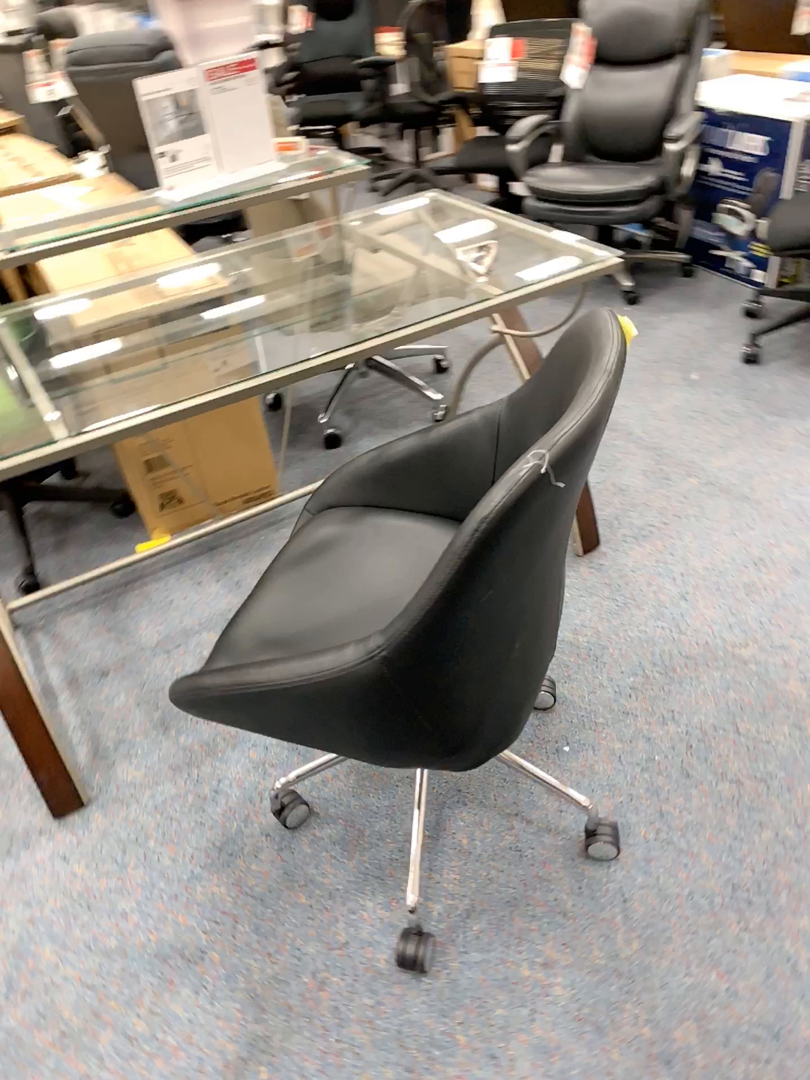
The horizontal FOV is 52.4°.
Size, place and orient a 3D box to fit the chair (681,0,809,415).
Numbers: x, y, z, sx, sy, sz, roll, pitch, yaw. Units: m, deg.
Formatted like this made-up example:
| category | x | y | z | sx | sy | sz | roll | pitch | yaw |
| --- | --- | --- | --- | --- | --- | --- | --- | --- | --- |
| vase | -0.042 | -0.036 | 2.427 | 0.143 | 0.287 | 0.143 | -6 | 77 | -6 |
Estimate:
| category | x | y | z | sx | sy | sz | roll | pitch | yaw |
| --- | --- | --- | --- | --- | --- | --- | --- | --- | --- |
| chair | 1.465 | -1.104 | 2.553 | 0.826 | 1.012 | 0.819 | 19 | 44 | 31 |

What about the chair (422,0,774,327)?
| category | x | y | z | sx | sy | sz | roll | pitch | yaw |
| --- | --- | --- | --- | --- | --- | --- | --- | --- | --- |
| chair | 0.745 | -1.619 | 3.328 | 0.896 | 1.062 | 0.901 | -33 | 44 | -30 |

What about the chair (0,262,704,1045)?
| category | x | y | z | sx | sy | sz | roll | pitch | yaw |
| --- | --- | --- | --- | --- | --- | --- | --- | --- | --- |
| chair | 0.036 | 0.125 | 1.228 | 0.655 | 0.843 | 0.660 | 7 | 39 | 18 |
